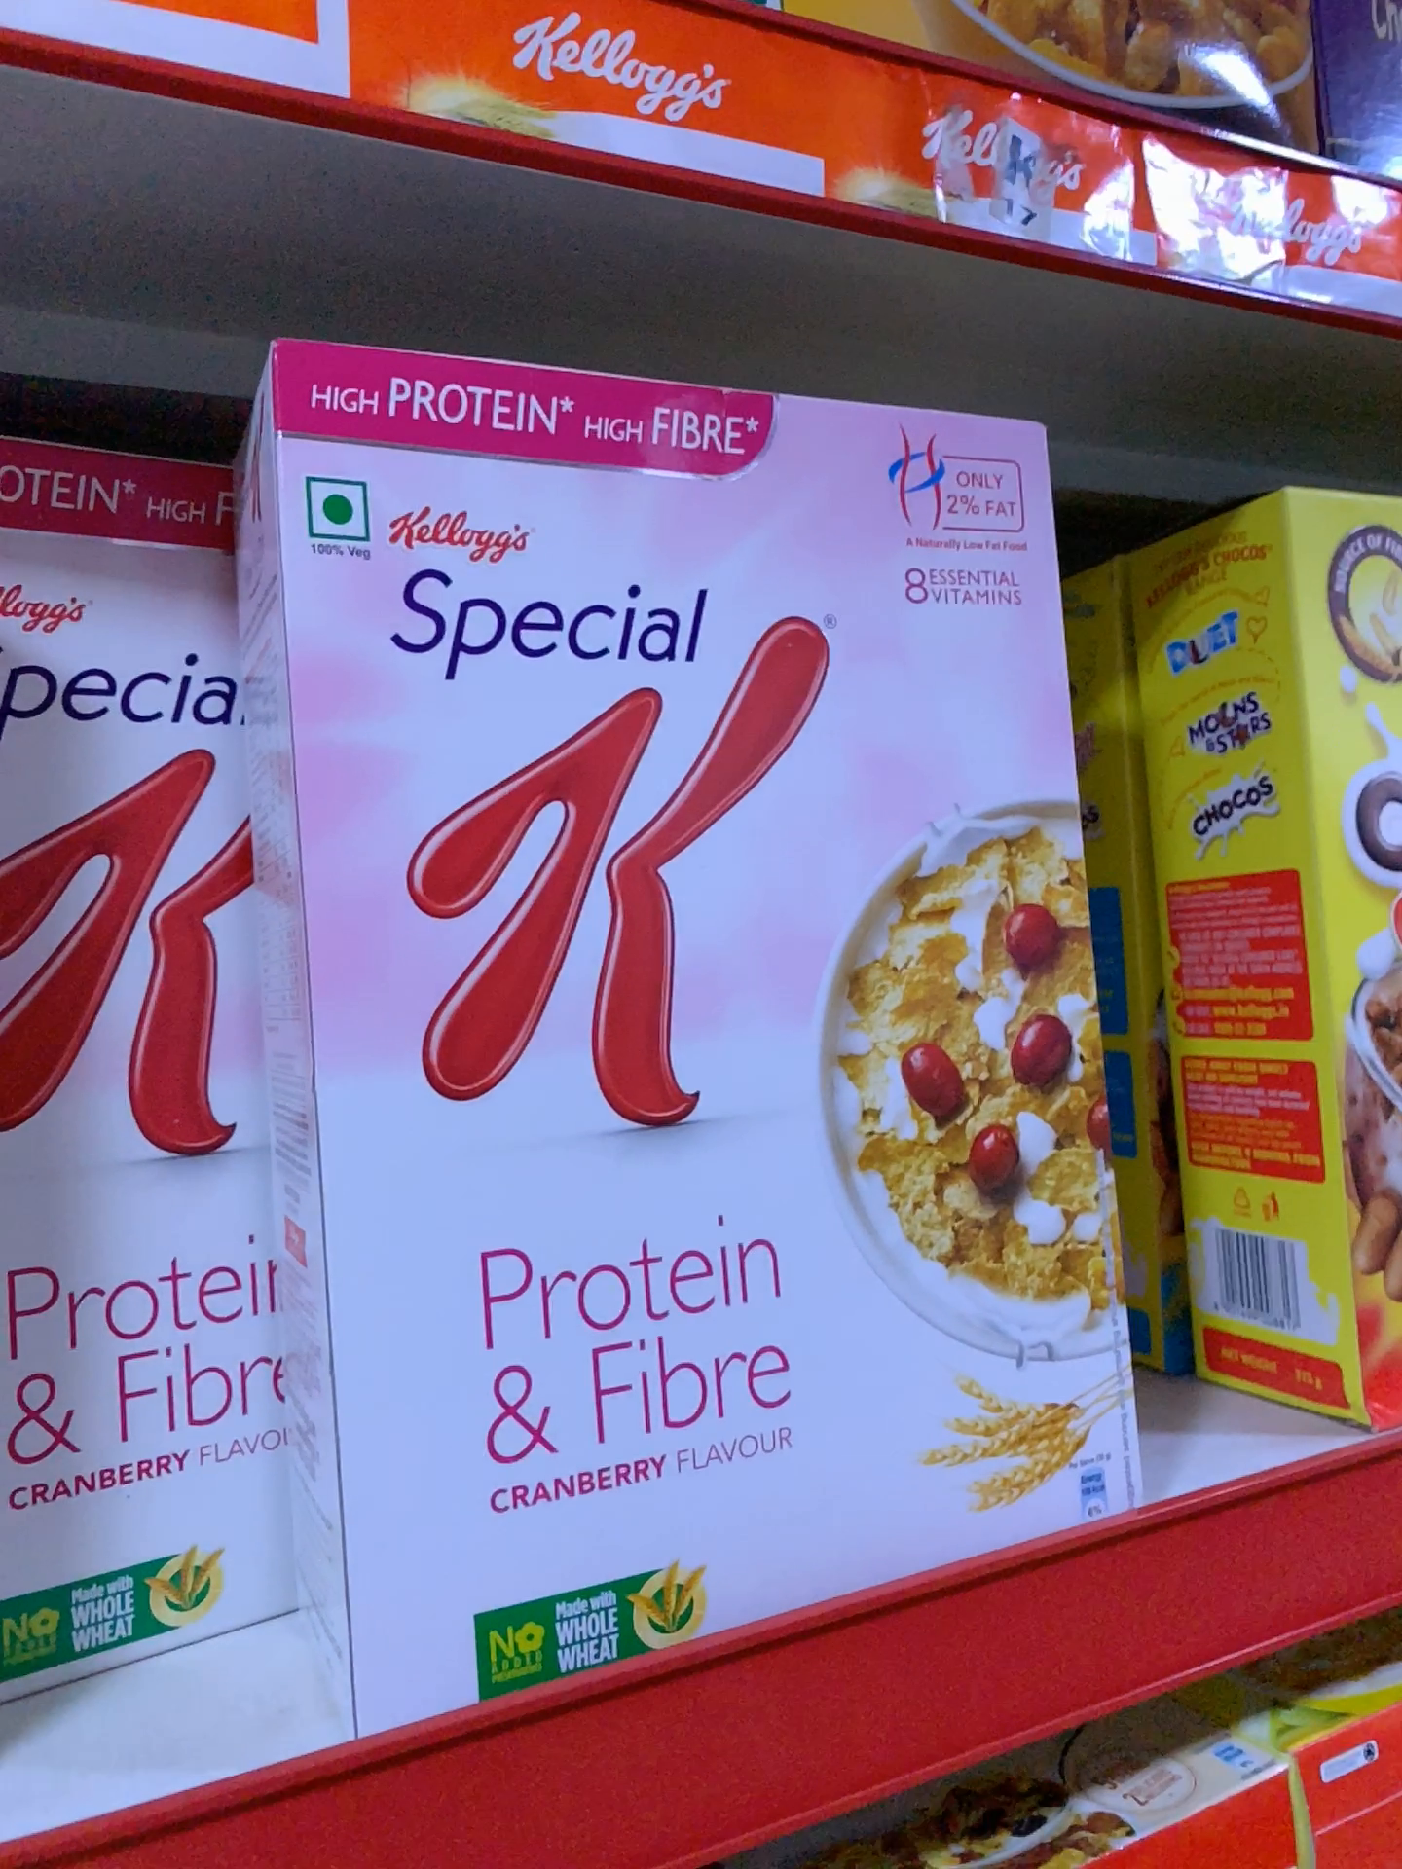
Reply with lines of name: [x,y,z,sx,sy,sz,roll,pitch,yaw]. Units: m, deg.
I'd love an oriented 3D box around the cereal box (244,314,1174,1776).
cereal box: [0.004,0.013,0.304,0.170,0.240,0.060,-3,-2,-26]
